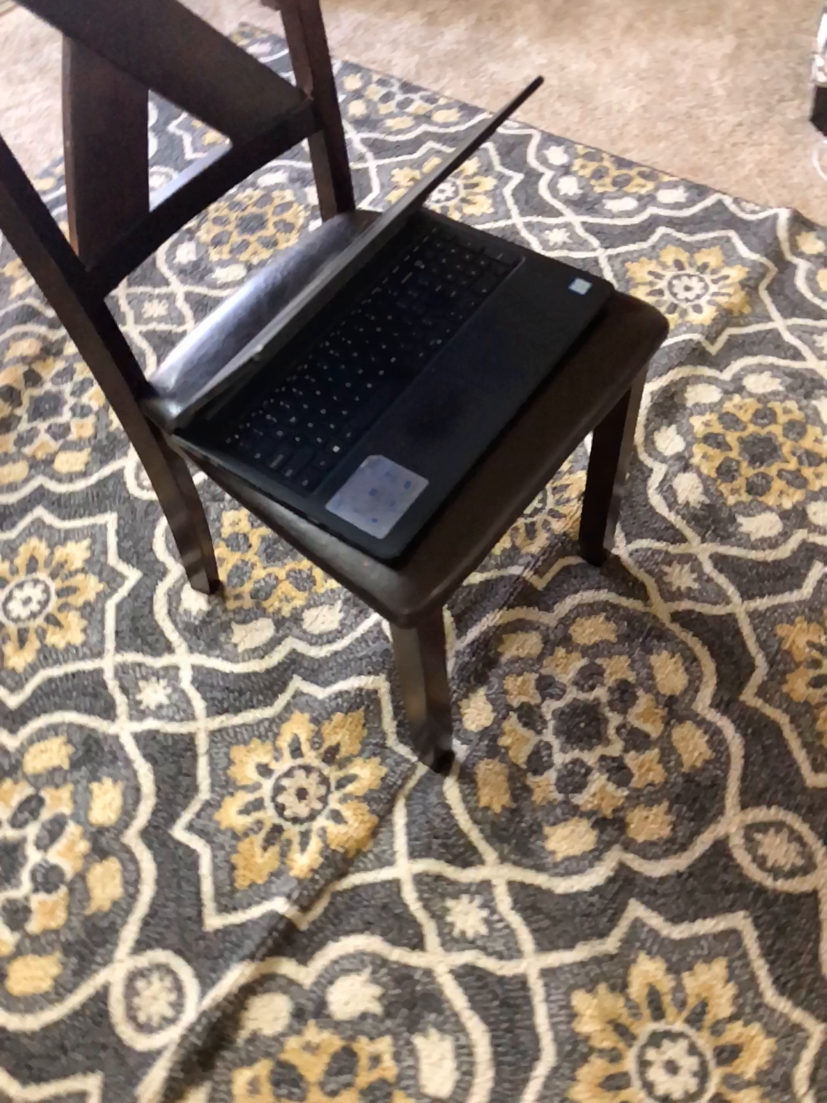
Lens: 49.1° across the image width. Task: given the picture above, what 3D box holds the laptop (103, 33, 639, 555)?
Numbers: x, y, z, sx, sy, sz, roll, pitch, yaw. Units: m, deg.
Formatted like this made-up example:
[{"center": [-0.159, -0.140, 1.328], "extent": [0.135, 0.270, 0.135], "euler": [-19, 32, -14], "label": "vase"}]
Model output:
[{"center": [-0.017, -0.232, 0.772], "extent": [0.245, 0.186, 0.366], "euler": [28, 63, 21], "label": "laptop"}]
